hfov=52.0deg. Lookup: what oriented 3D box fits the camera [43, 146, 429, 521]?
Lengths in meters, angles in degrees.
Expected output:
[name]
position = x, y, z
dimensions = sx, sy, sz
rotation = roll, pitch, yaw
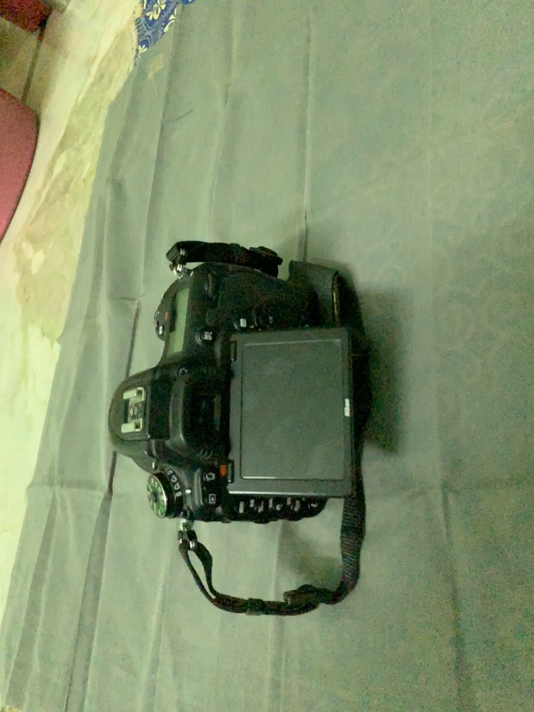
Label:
[camera]
position = -0.031, 0.014, 0.347
dimensions = 0.231, 0.099, 0.165
rotation = -17, 62, 44
